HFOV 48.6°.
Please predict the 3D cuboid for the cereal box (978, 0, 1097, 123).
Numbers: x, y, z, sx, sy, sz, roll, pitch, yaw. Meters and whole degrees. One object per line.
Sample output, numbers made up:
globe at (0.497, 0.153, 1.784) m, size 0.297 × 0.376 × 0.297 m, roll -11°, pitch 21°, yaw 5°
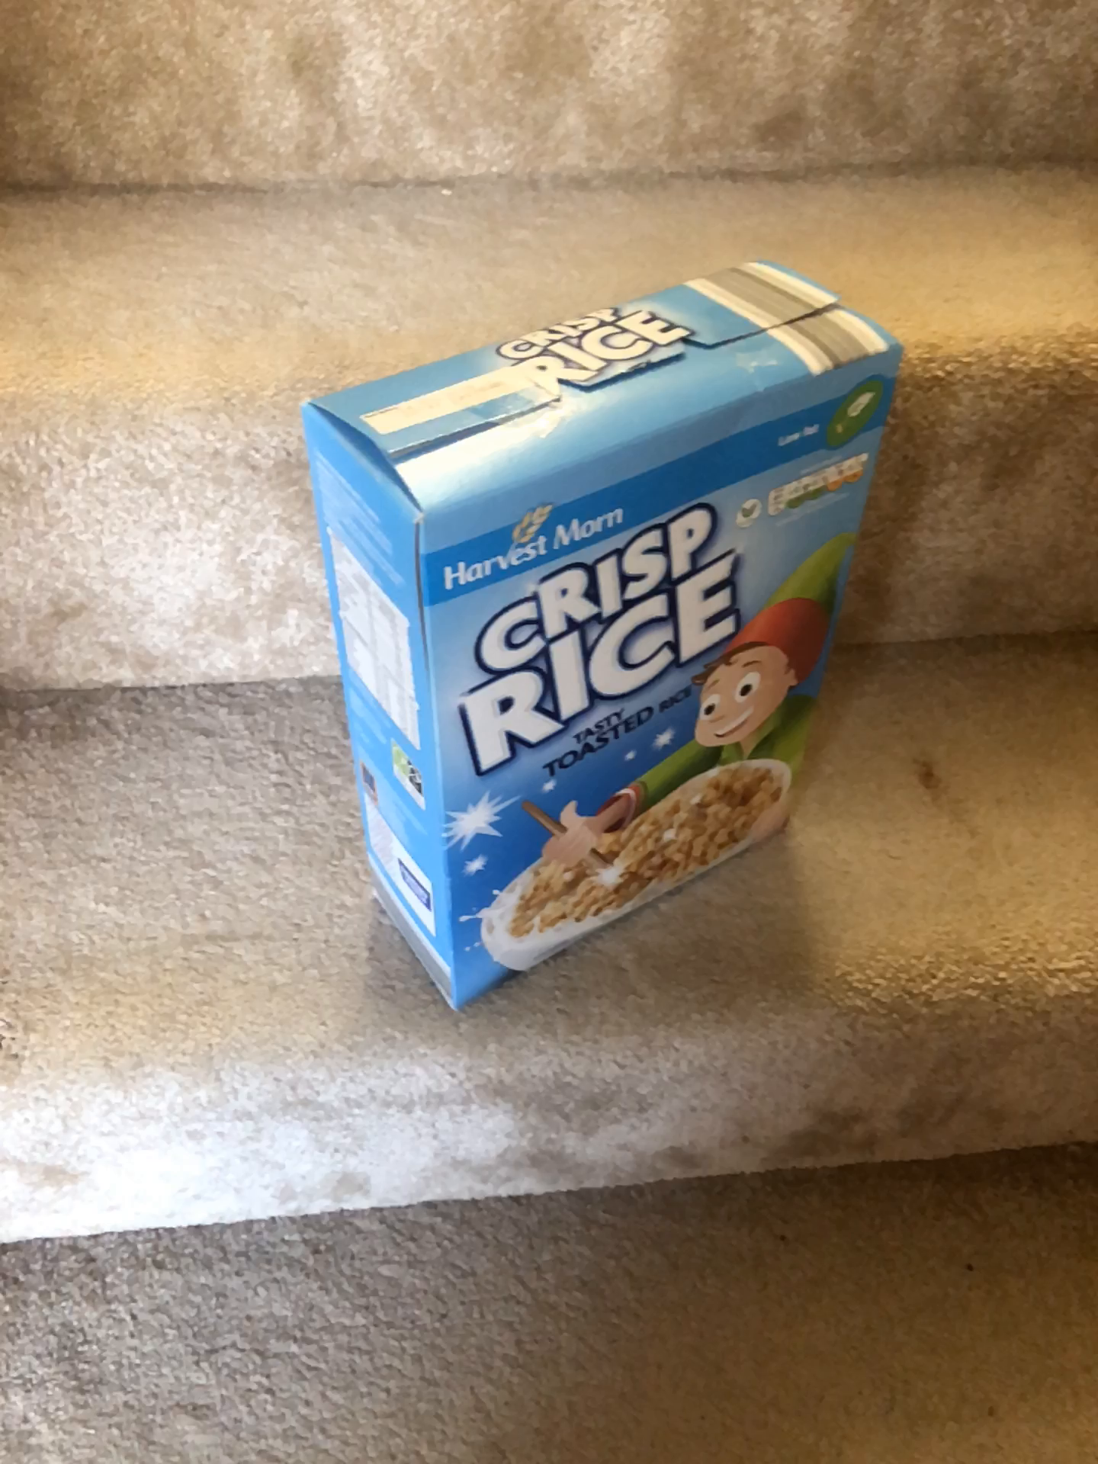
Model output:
cereal box at (1.920, -2.609, 3.842) m, size 0.760 × 0.993 × 0.795 m, roll 6°, pitch 45°, yaw 5°
